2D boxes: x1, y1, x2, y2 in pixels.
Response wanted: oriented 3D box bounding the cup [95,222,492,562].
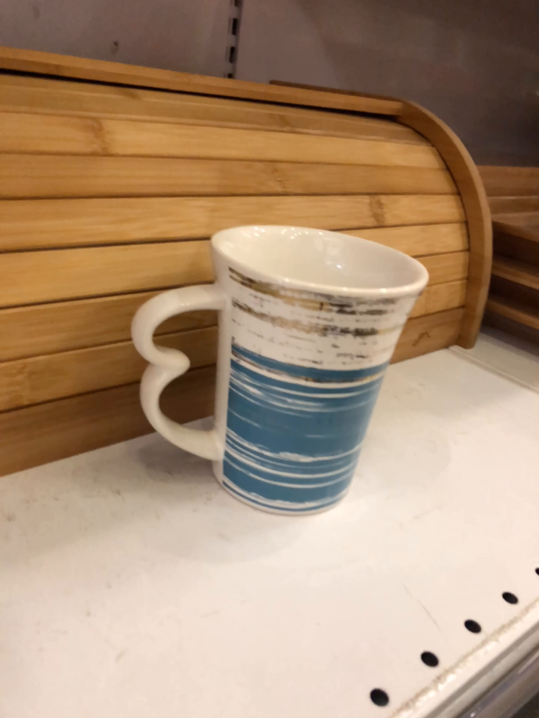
[{"bbox_3d":[0.002,0.001,0.243,0.120,0.089,0.090,-6,29,-29],"label":"cup"}]
